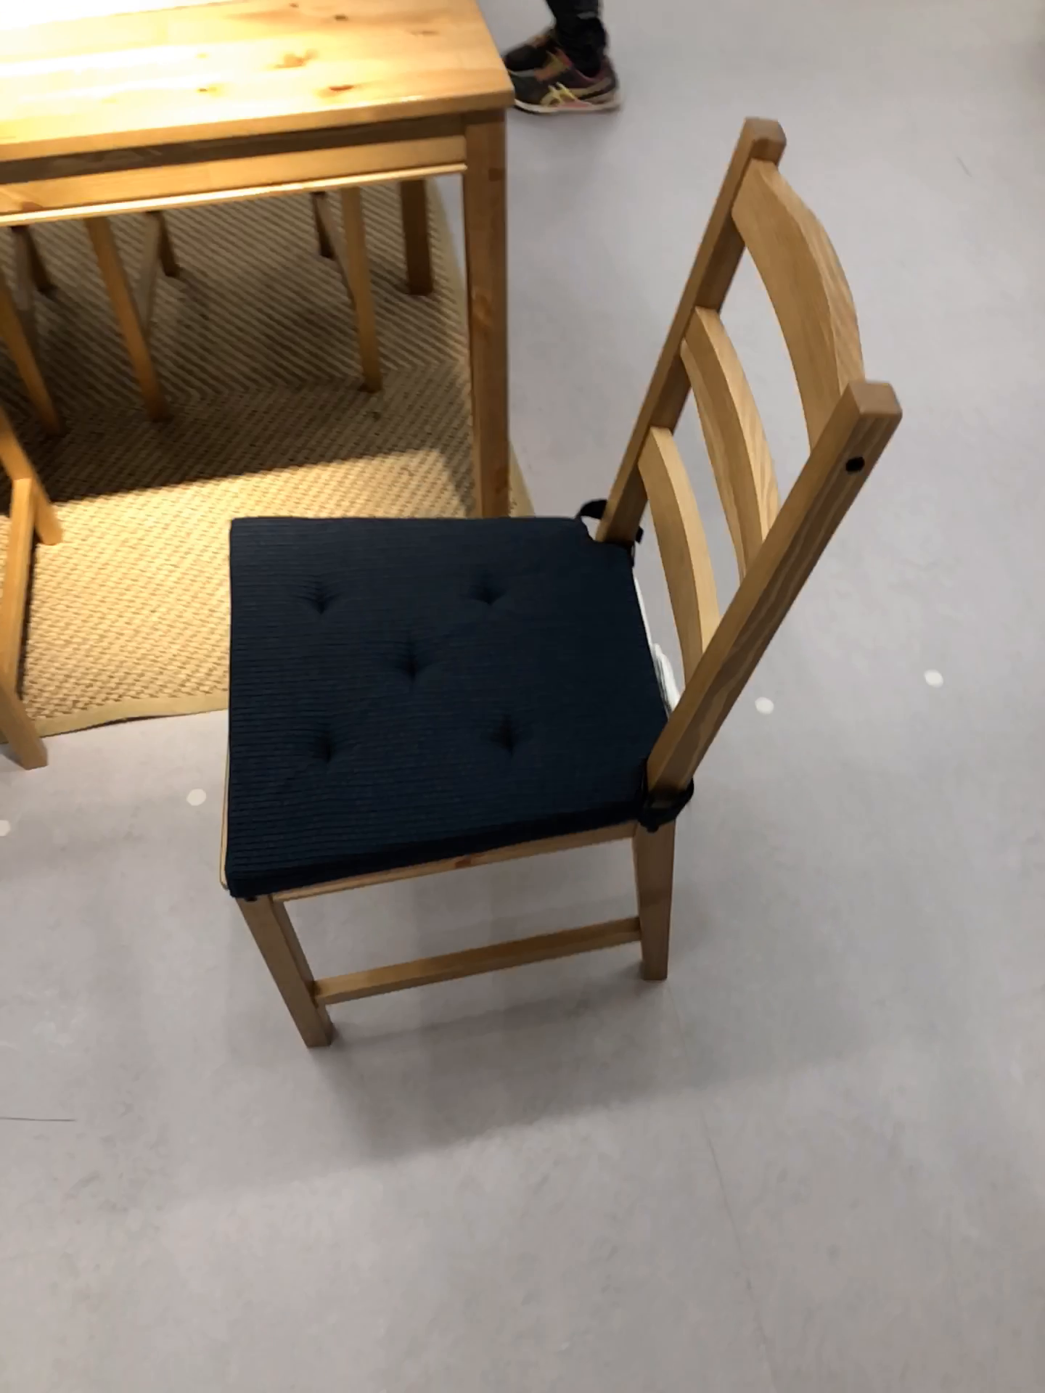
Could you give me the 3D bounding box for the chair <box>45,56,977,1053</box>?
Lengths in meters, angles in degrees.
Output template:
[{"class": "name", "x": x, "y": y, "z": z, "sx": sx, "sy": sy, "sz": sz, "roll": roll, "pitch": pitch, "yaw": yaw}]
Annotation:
[{"class": "chair", "x": -0.030, "y": -0.049, "z": 1.111, "sx": 0.520, "sy": 0.866, "sz": 0.442, "roll": -7, "pitch": 55, "yaw": -5}]
